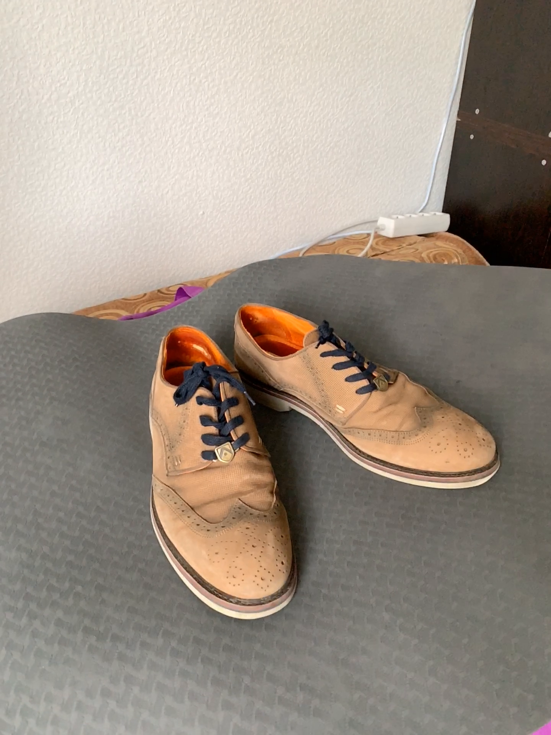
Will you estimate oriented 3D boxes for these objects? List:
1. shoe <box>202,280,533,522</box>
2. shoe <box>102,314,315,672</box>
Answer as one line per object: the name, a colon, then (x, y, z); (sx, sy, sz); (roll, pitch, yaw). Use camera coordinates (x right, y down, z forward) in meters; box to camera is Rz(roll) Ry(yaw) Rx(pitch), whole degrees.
shoe: (0.076, 0.016, 0.556); (0.291, 0.090, 0.110); (24, 45, 30)
shoe: (-0.073, 0.078, 0.492); (0.110, 0.090, 0.302); (-13, 39, -13)
